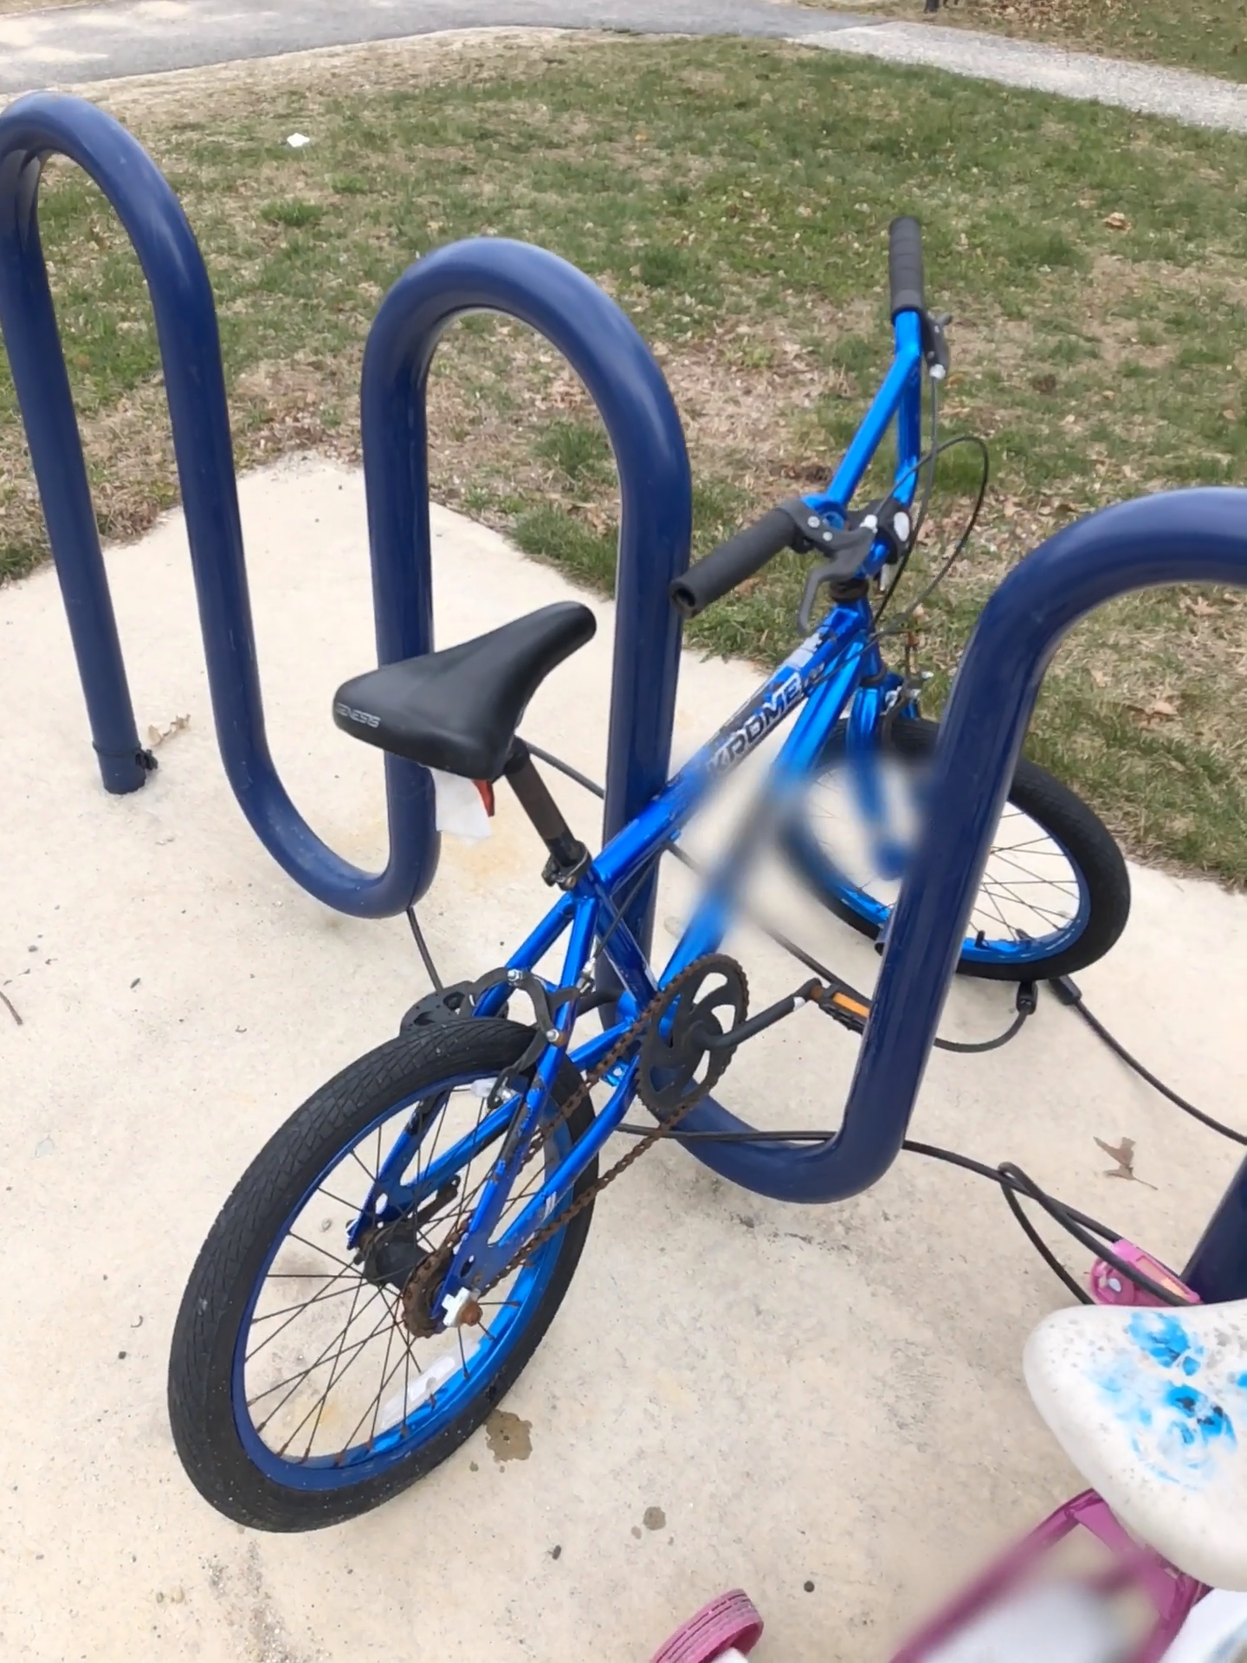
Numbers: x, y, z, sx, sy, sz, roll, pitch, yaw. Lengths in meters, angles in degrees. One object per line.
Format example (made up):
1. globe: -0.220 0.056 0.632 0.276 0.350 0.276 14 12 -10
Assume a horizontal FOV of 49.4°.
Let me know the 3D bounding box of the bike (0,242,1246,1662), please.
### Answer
1. bike: 0.032 0.050 1.191 1.032 0.840 0.622 -25 46 -33
